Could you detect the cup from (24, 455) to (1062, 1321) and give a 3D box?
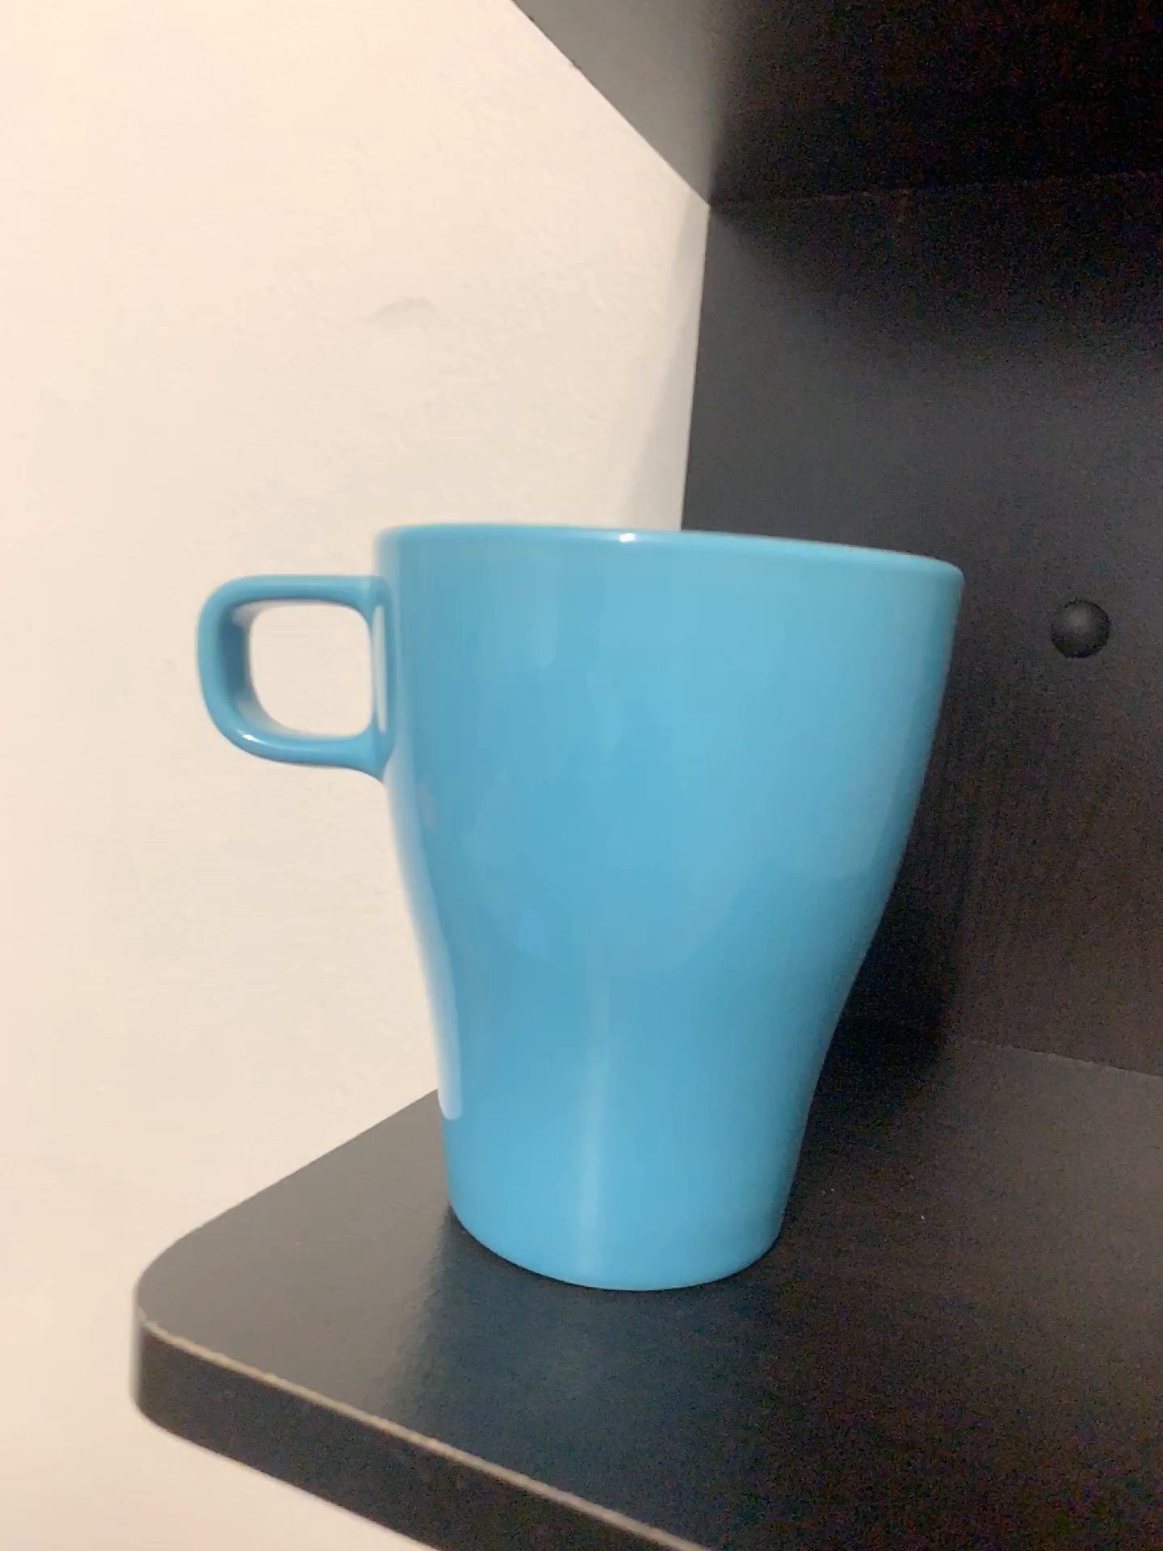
[{"bbox_3d":[-0.006,0.009,0.181,0.110,0.090,0.090,5,6,0],"label":"cup"}]
